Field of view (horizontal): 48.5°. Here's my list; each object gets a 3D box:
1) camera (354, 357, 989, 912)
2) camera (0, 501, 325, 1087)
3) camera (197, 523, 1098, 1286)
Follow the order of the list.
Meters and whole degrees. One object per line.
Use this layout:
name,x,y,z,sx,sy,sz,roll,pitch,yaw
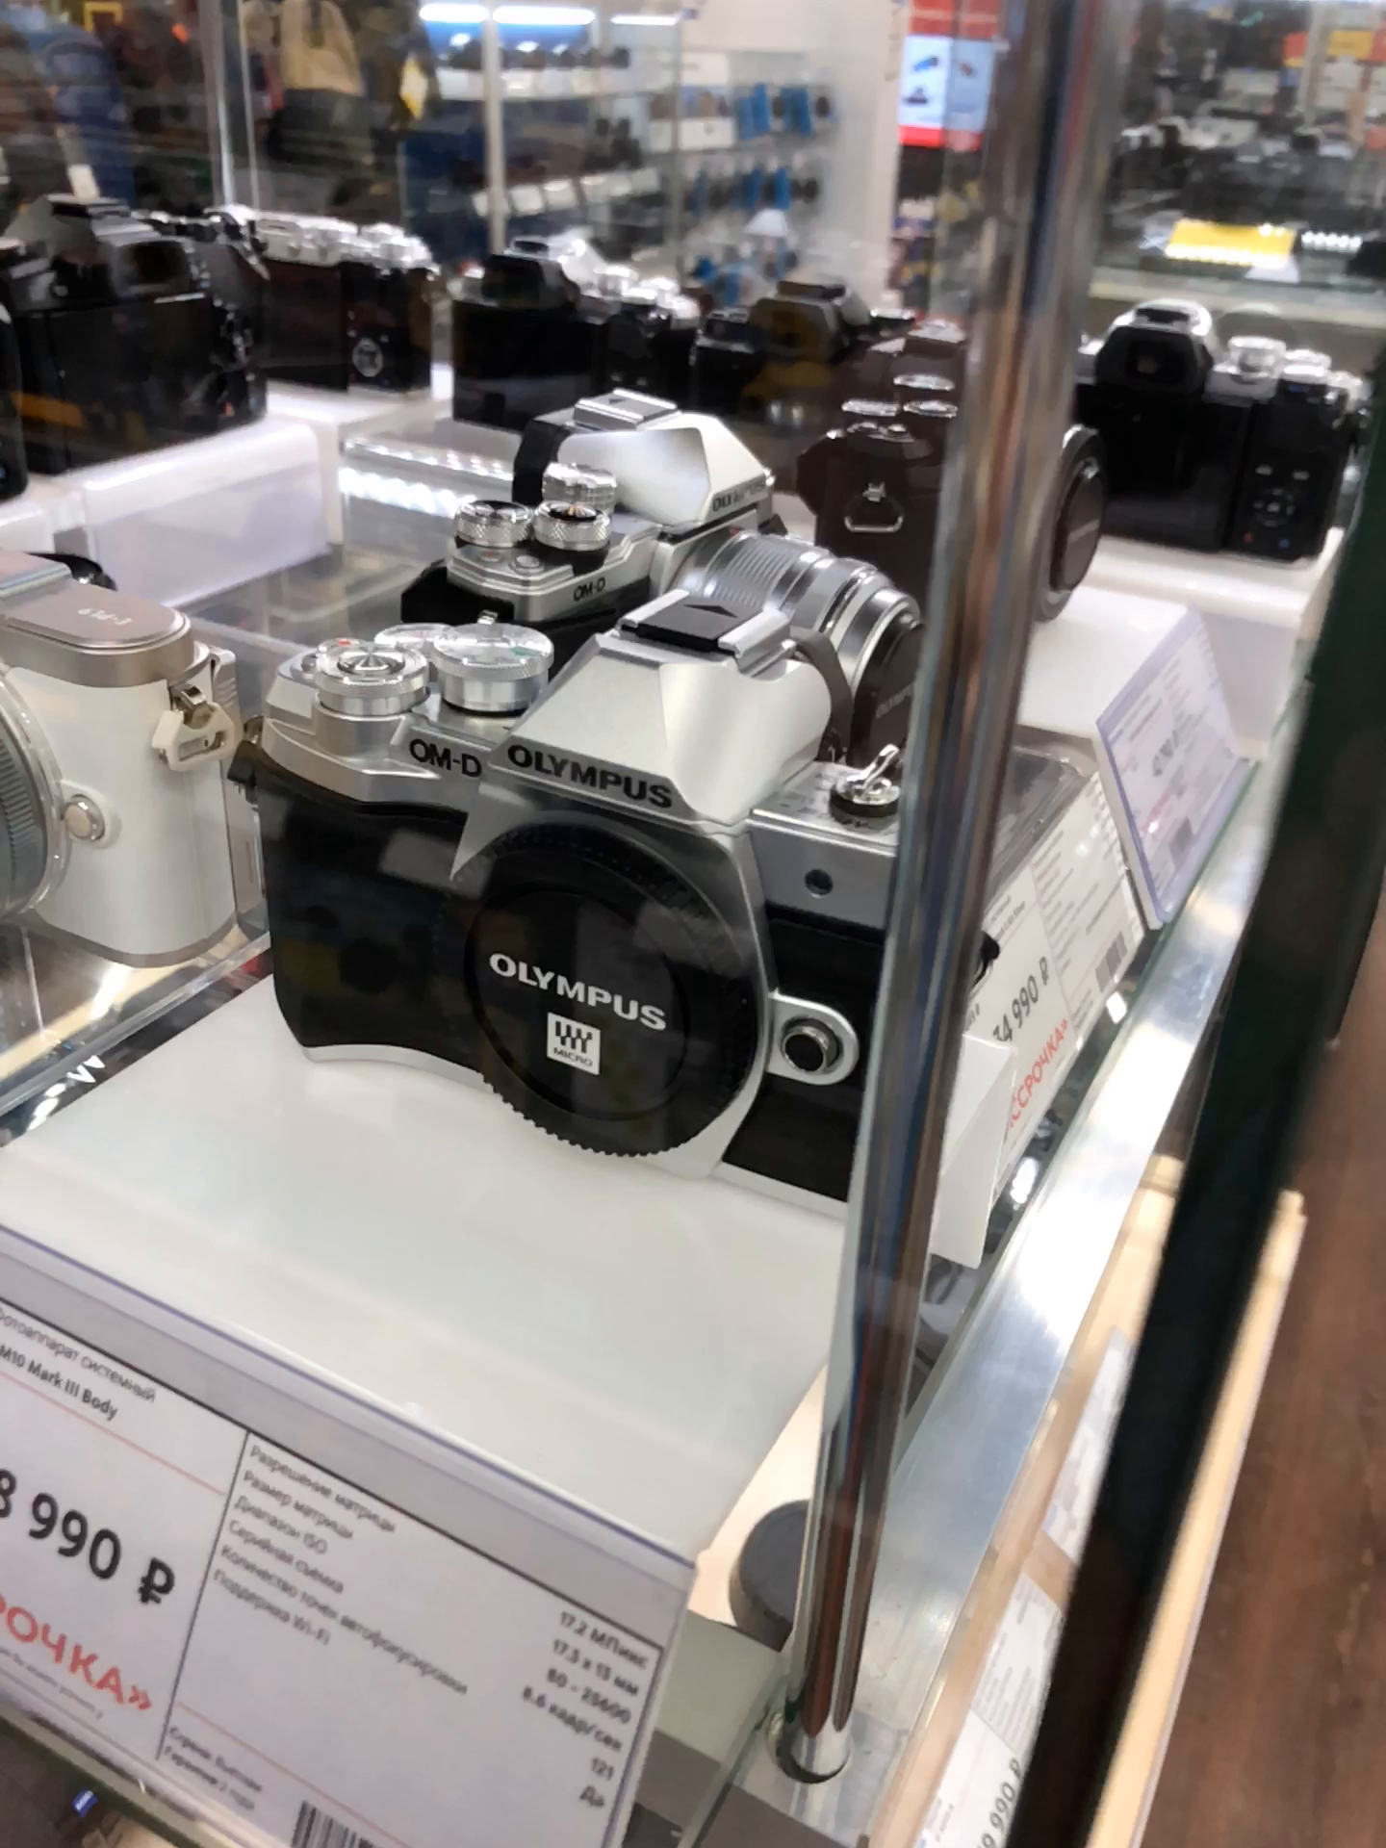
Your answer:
camera,0.001,-0.081,0.382,0.101,0.084,0.137,15,32,20
camera,-0.146,-0.032,0.305,0.124,0.068,0.068,17,32,23
camera,-0.008,-0.011,0.253,0.122,0.077,0.065,17,32,22
